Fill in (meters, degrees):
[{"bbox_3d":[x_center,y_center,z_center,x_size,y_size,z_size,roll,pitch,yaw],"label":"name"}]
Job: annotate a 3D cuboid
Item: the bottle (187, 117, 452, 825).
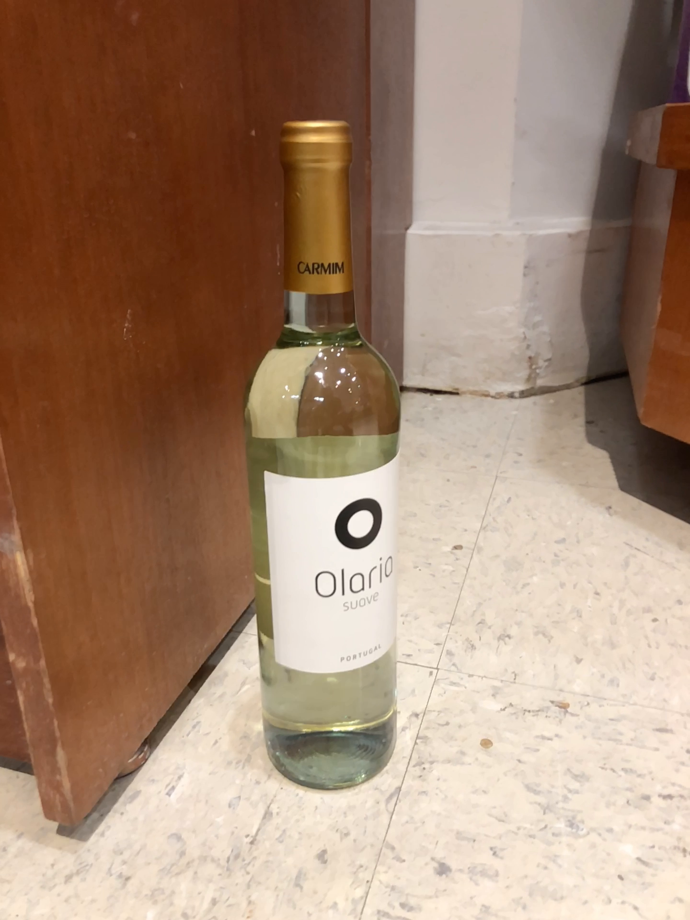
[{"bbox_3d":[-0.009,0.012,0.362,0.080,0.318,0.070,-15,26,-30],"label":"bottle"}]
